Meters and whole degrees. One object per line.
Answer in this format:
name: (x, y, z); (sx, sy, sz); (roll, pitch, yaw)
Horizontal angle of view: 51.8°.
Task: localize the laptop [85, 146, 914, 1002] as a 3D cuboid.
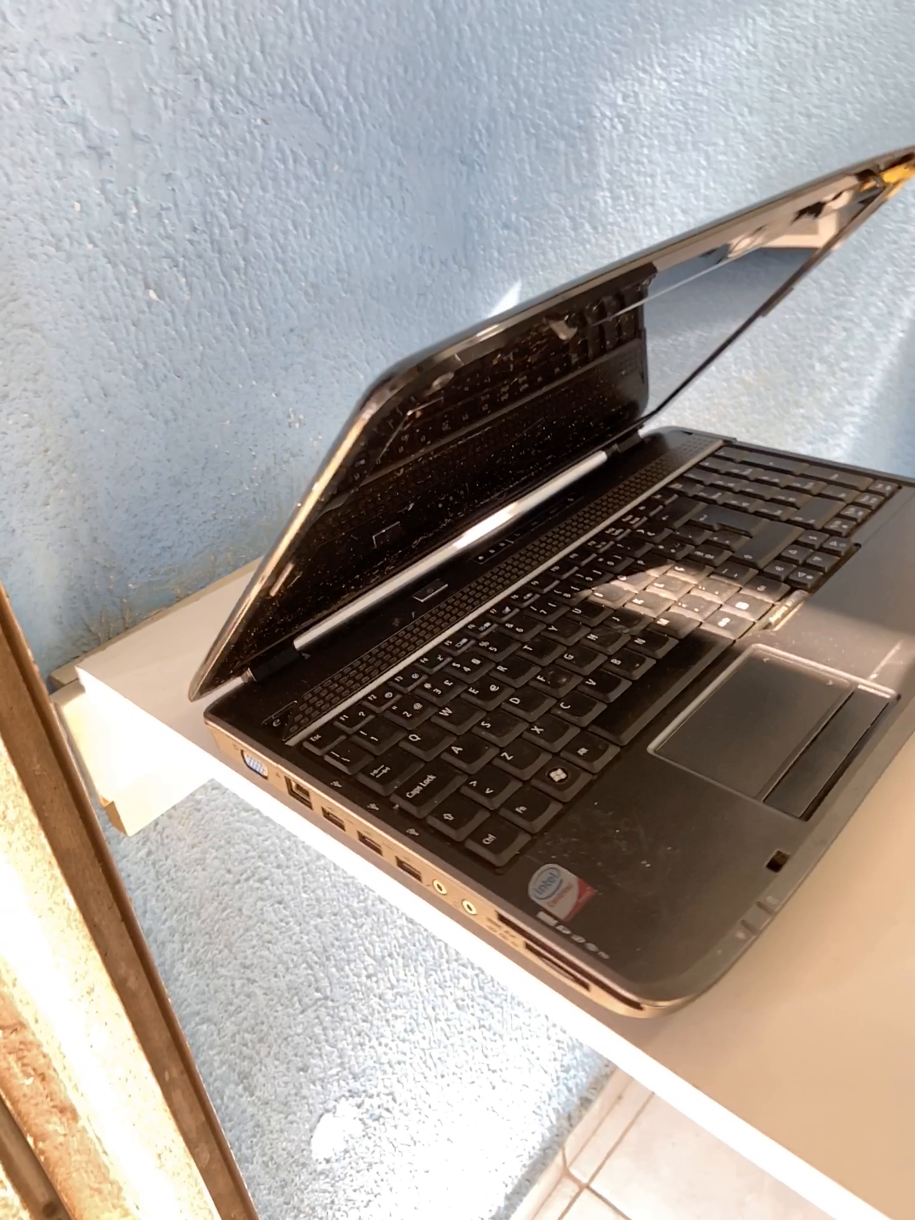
laptop: (0.088, -0.080, 0.417); (0.236, 0.174, 0.379); (20, 39, 38)
